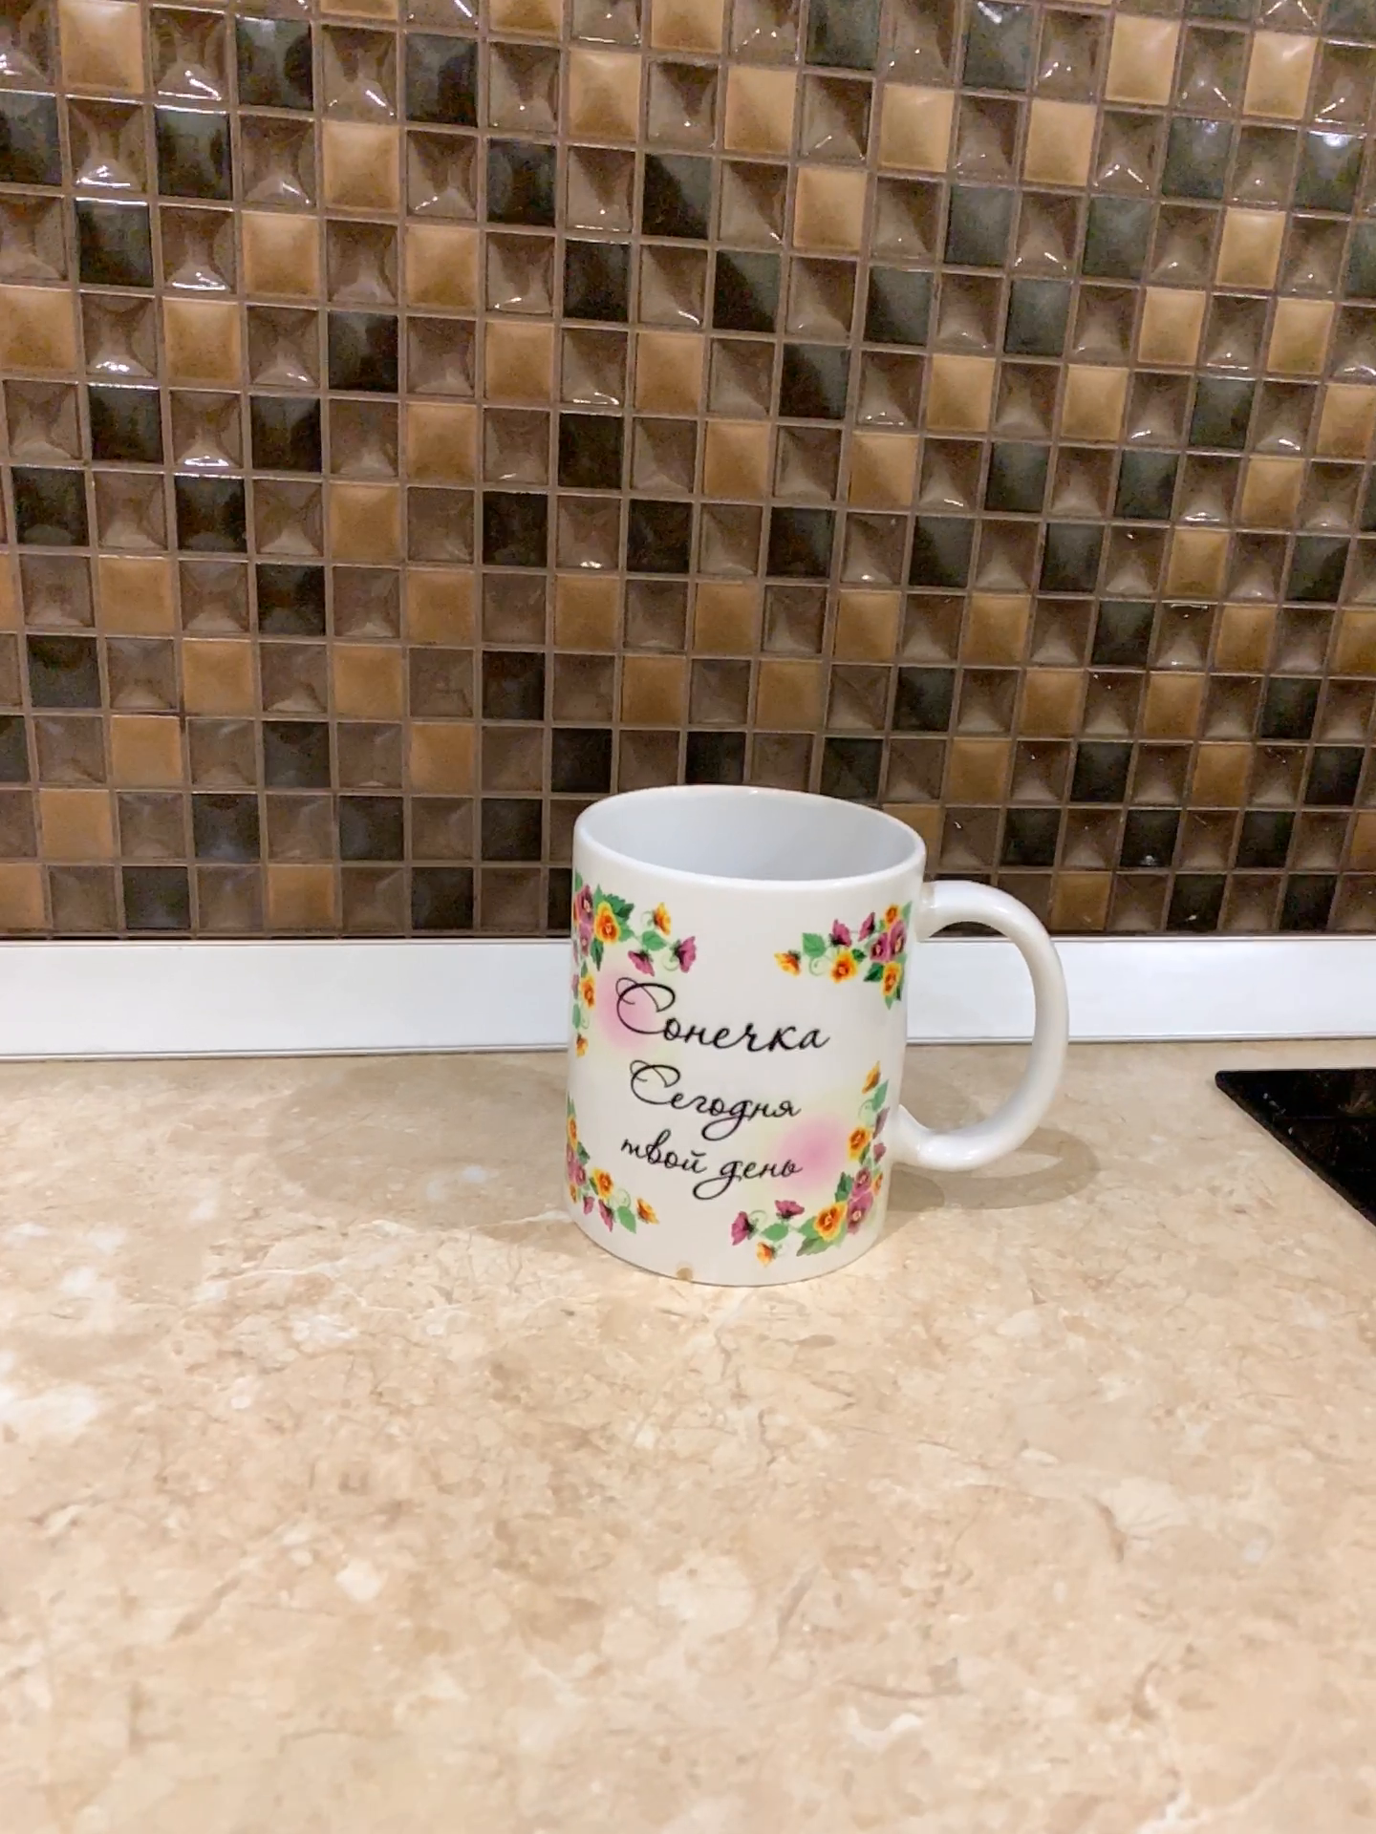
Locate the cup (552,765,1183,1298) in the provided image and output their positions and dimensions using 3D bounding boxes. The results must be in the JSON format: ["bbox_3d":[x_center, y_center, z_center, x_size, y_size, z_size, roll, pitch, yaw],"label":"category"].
[{"bbox_3d":[0.031,0.023,0.335,0.123,0.093,0.091,2,19,-6],"label":"cup"}]
